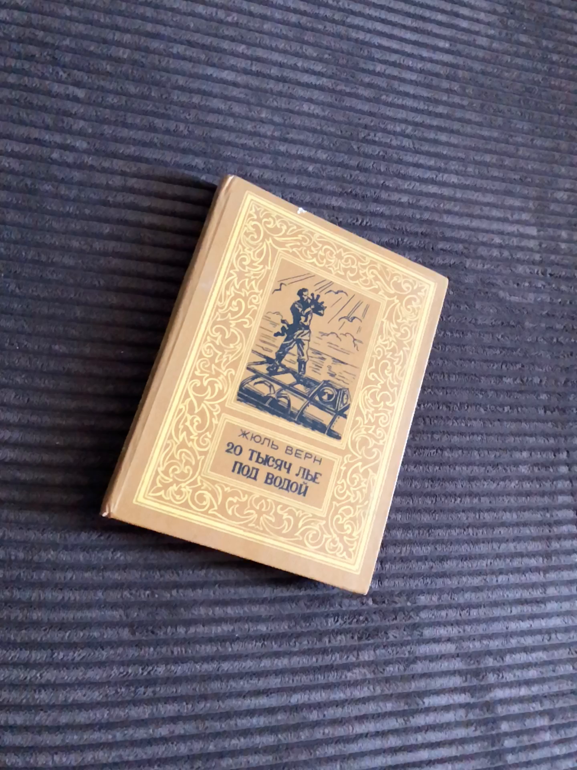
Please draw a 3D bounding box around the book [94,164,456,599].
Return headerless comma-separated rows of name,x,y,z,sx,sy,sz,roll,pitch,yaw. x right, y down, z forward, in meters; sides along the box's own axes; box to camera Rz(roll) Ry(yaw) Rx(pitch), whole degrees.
book,0.002,-0.001,0.396,0.170,0.029,0.219,21,76,-17
